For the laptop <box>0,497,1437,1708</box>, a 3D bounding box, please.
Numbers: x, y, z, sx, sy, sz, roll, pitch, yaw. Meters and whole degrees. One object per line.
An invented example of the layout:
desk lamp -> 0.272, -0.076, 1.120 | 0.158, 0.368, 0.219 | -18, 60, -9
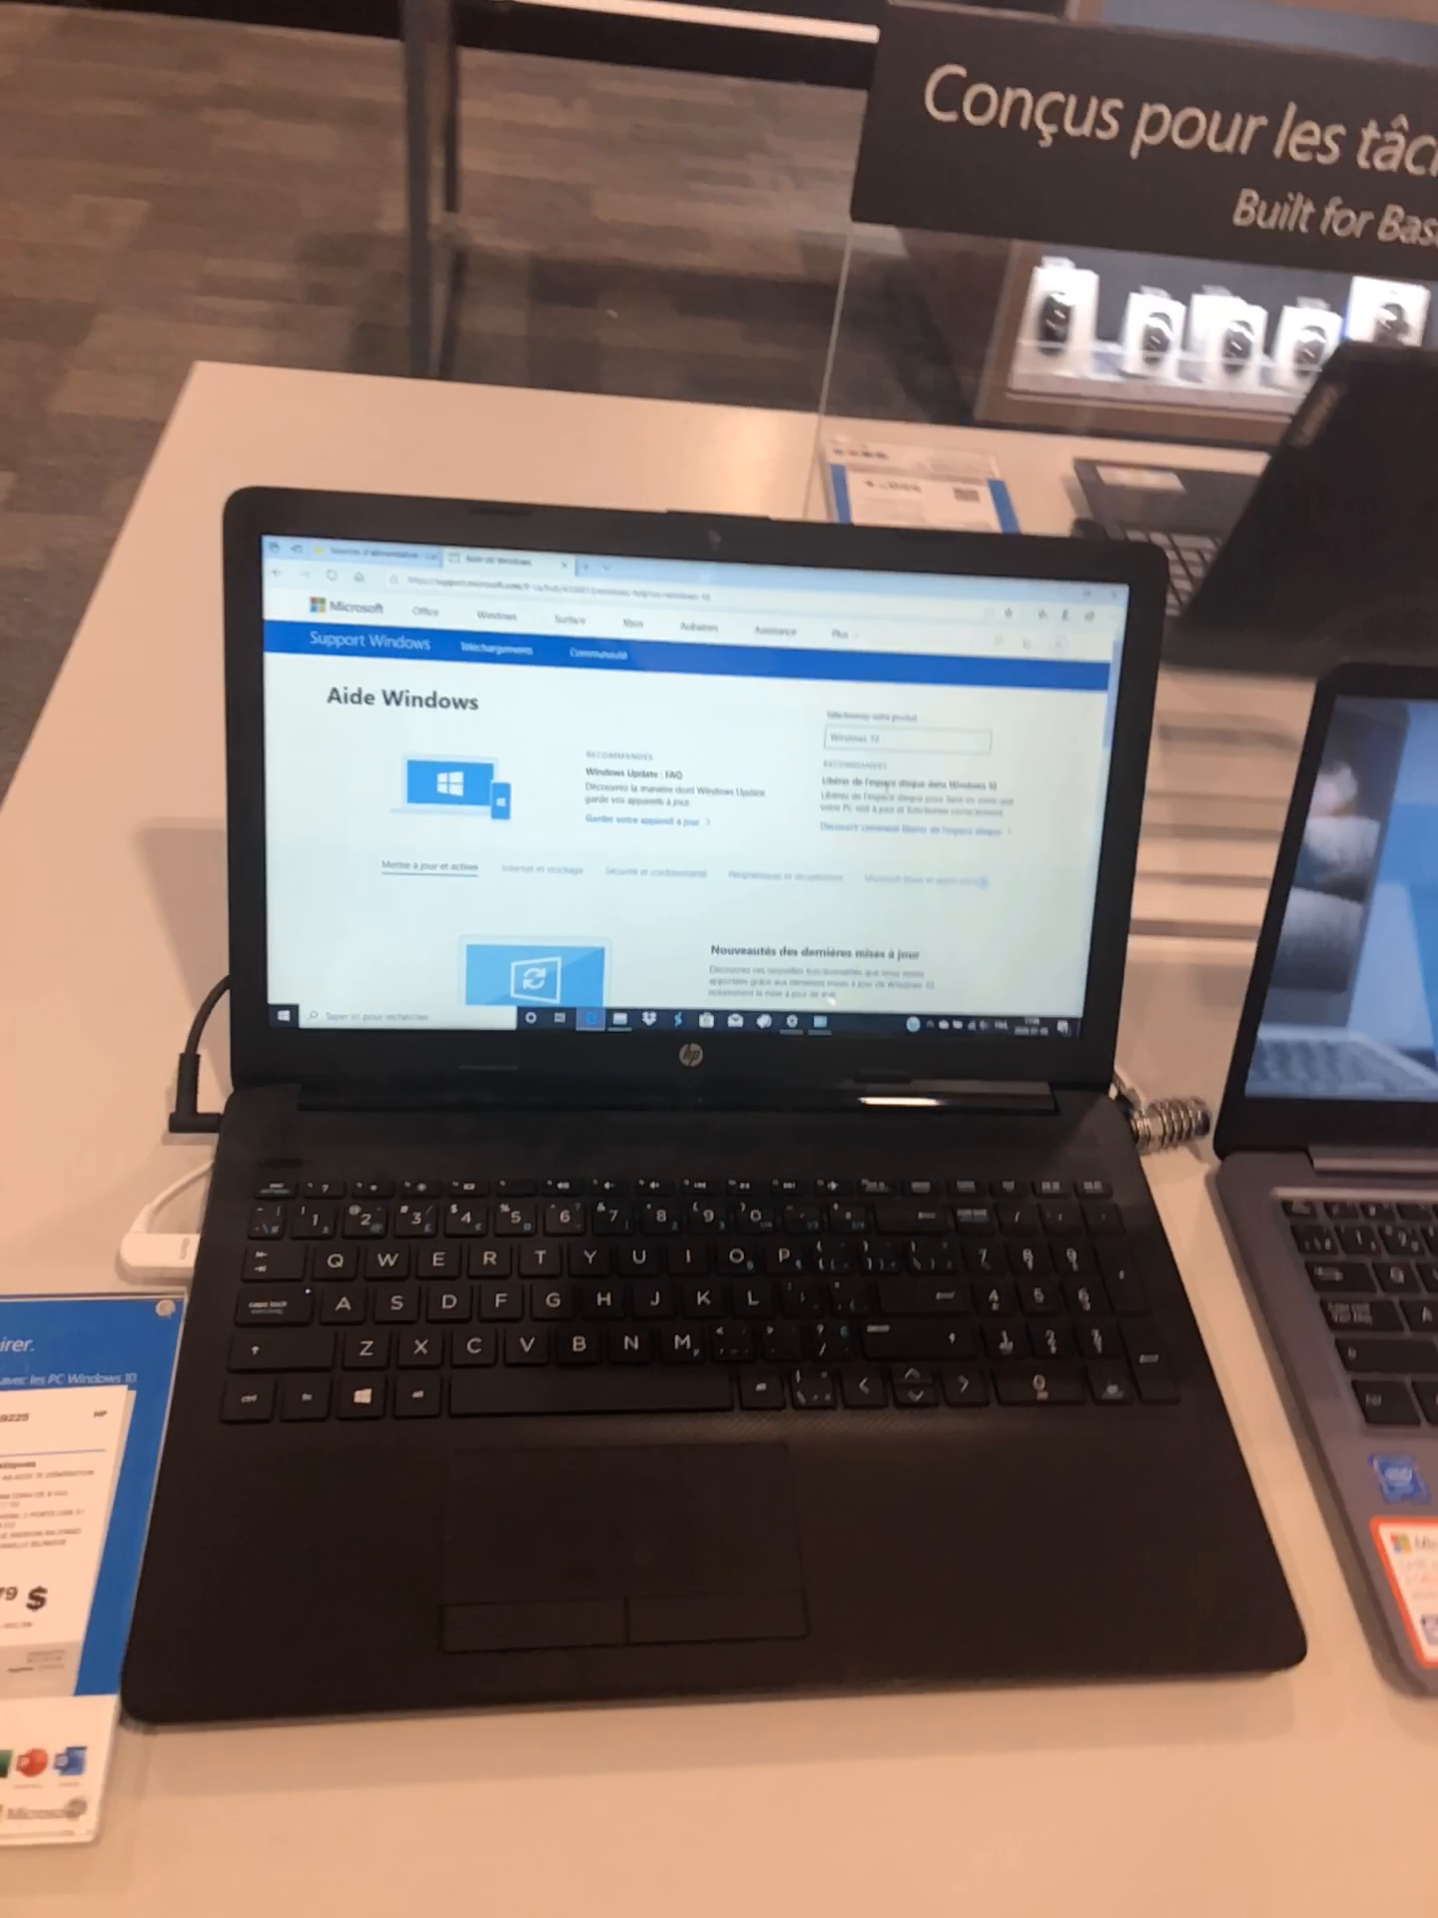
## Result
laptop -> 0.003, 0.026, 0.540 | 0.356, 0.195, 0.361 | 1, 43, -7
